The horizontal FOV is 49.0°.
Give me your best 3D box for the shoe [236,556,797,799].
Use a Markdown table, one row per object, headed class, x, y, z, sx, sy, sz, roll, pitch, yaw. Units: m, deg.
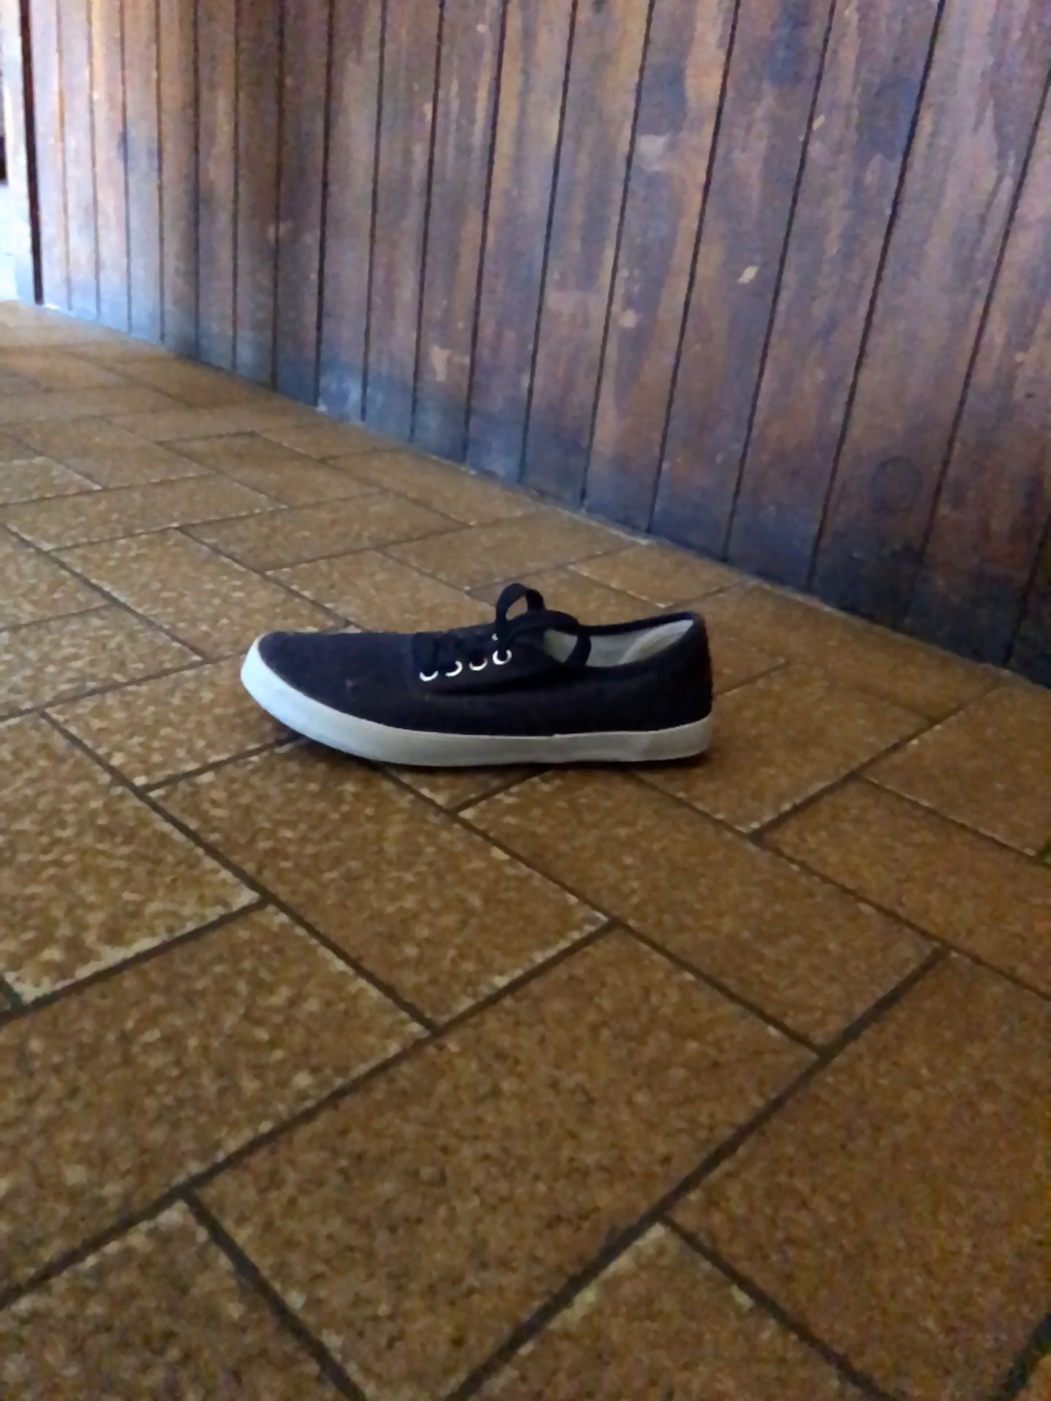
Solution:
| class | x | y | z | sx | sy | sz | roll | pitch | yaw |
| --- | --- | --- | --- | --- | --- | --- | --- | --- | --- |
| shoe | -0.009 | -0.012 | 0.547 | 0.240 | 0.070 | 0.100 | 2 | 26 | -10 |
